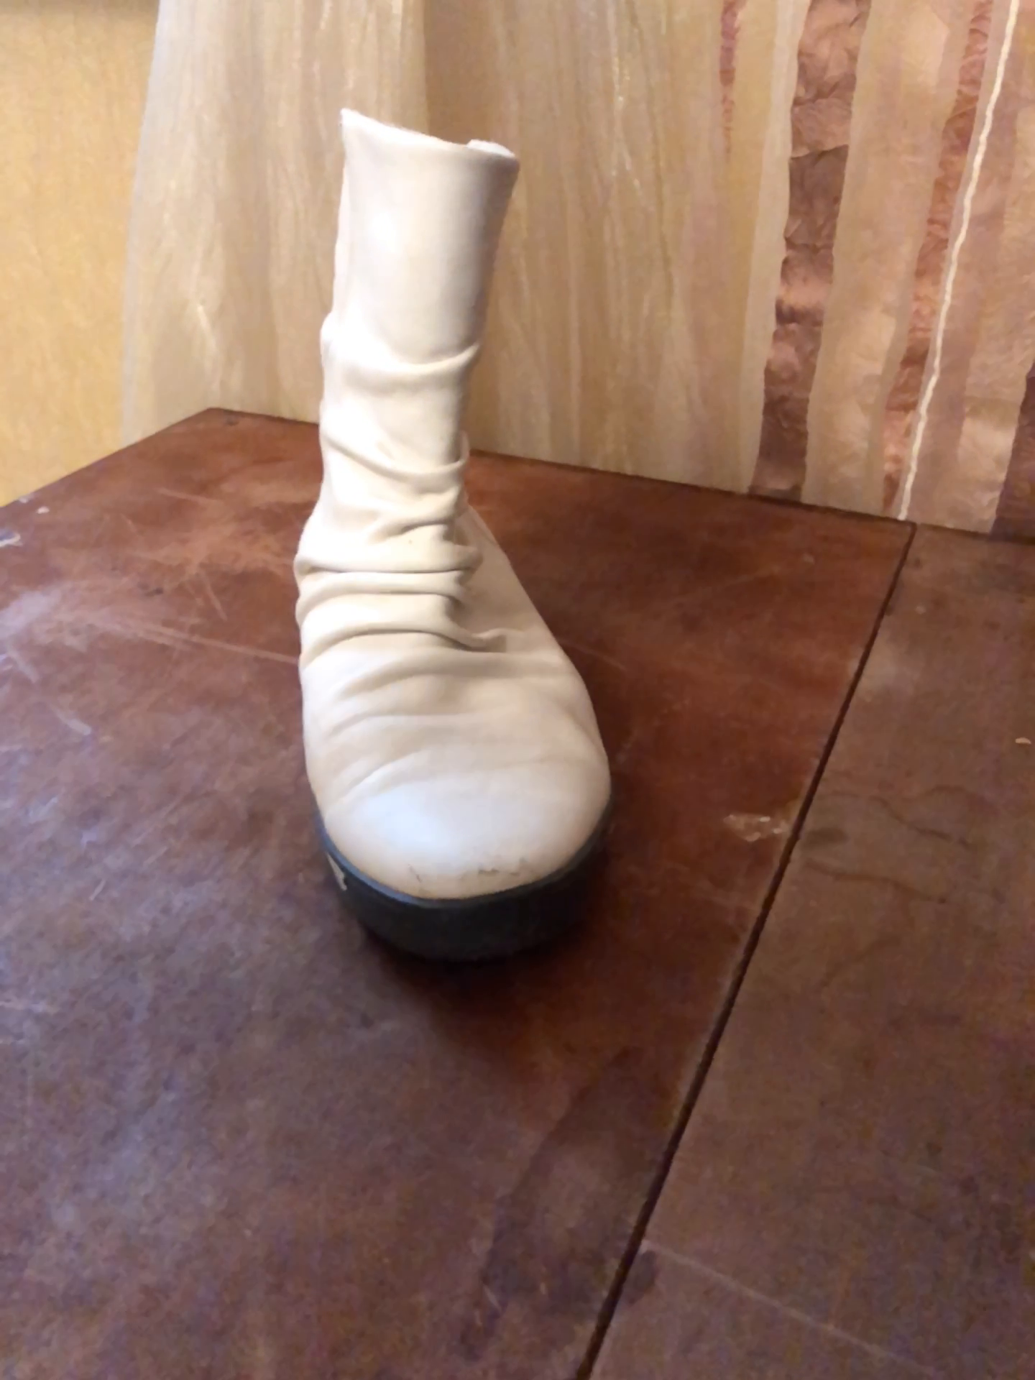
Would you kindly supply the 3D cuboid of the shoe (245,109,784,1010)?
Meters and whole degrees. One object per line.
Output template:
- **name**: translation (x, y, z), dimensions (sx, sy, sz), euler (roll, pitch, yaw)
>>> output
- **shoe**: translation (-0.020, -0.063, 0.335), dimensions (0.090, 0.169, 0.241), euler (-4, 32, -8)
